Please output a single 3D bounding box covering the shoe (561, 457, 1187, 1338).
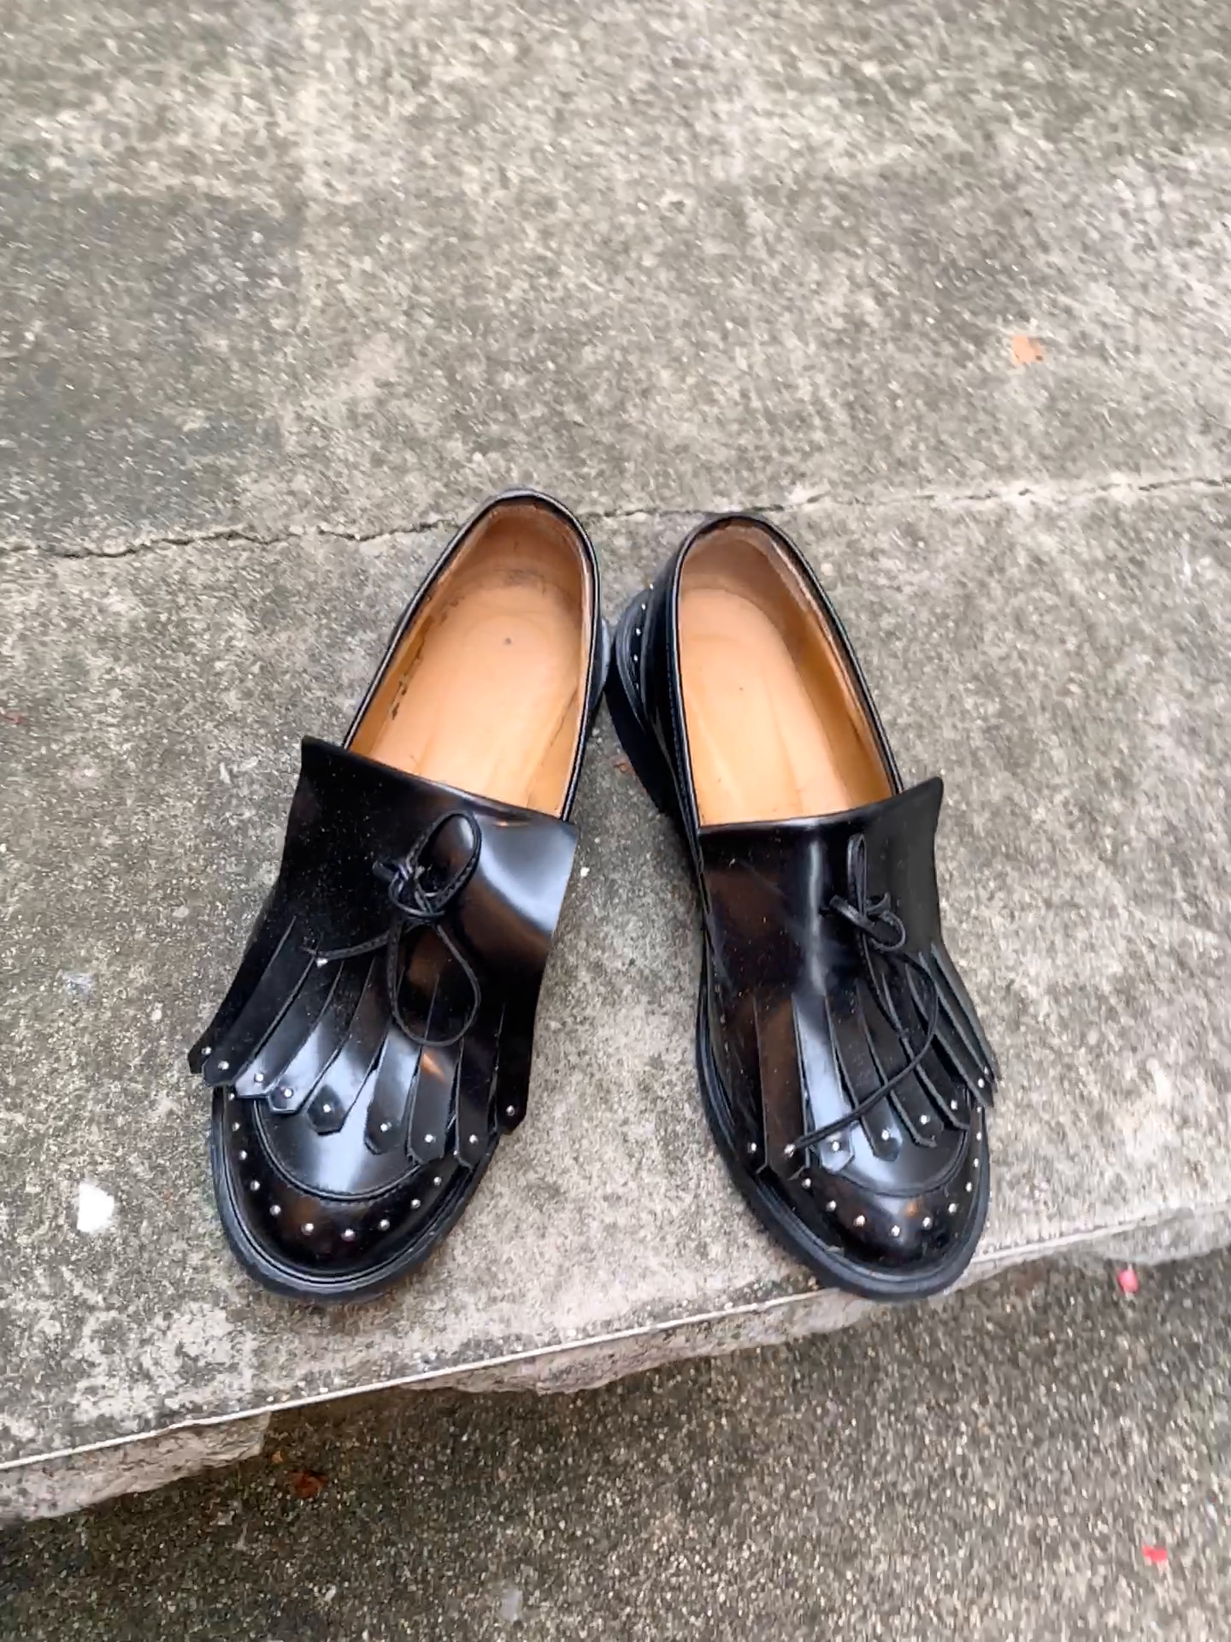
[{"bbox_3d":[0.061,0.014,0.390,0.093,0.081,0.249,-9,65,-15],"label":"shoe"}]

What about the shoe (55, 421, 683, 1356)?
[{"bbox_3d":[-0.056,0.011,0.368,0.093,0.081,0.247,14,62,-1],"label":"shoe"}]
